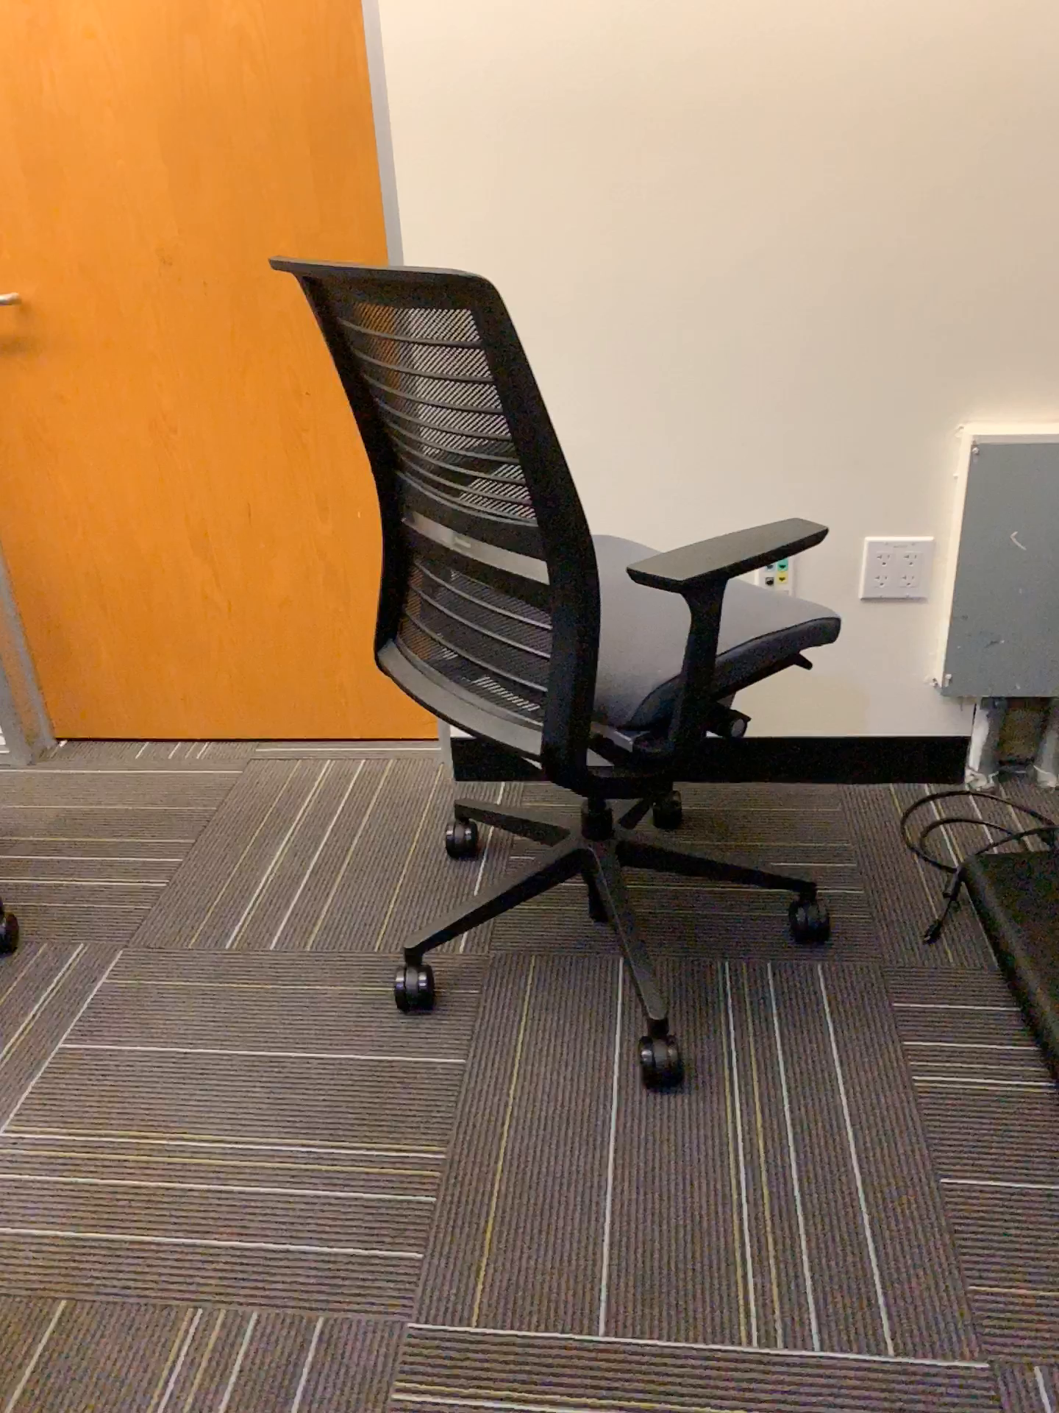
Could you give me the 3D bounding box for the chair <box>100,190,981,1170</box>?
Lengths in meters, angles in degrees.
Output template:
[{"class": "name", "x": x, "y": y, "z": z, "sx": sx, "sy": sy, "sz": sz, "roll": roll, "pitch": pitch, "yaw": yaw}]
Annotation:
[{"class": "chair", "x": 0.058, "y": -0.145, "z": 1.534, "sx": 0.743, "sy": 0.994, "sz": 0.782, "roll": 18, "pitch": 34, "yaw": 36}]
